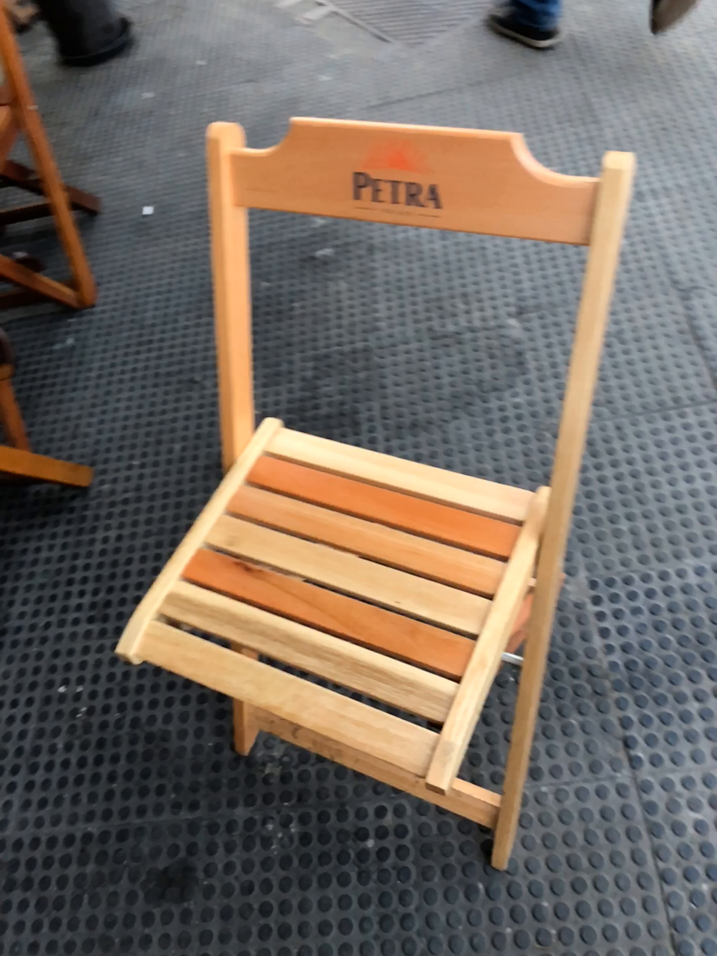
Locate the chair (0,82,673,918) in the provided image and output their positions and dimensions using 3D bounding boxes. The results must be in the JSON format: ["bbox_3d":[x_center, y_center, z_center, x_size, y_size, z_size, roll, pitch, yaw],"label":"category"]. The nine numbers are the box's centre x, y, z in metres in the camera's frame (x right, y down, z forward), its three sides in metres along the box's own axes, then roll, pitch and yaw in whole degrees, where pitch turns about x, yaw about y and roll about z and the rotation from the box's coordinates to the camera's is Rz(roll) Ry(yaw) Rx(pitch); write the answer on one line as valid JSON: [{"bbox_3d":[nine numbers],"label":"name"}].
[{"bbox_3d":[0.001,0.069,0.889,0.481,0.756,0.502,15,59,23],"label":"chair"}]
